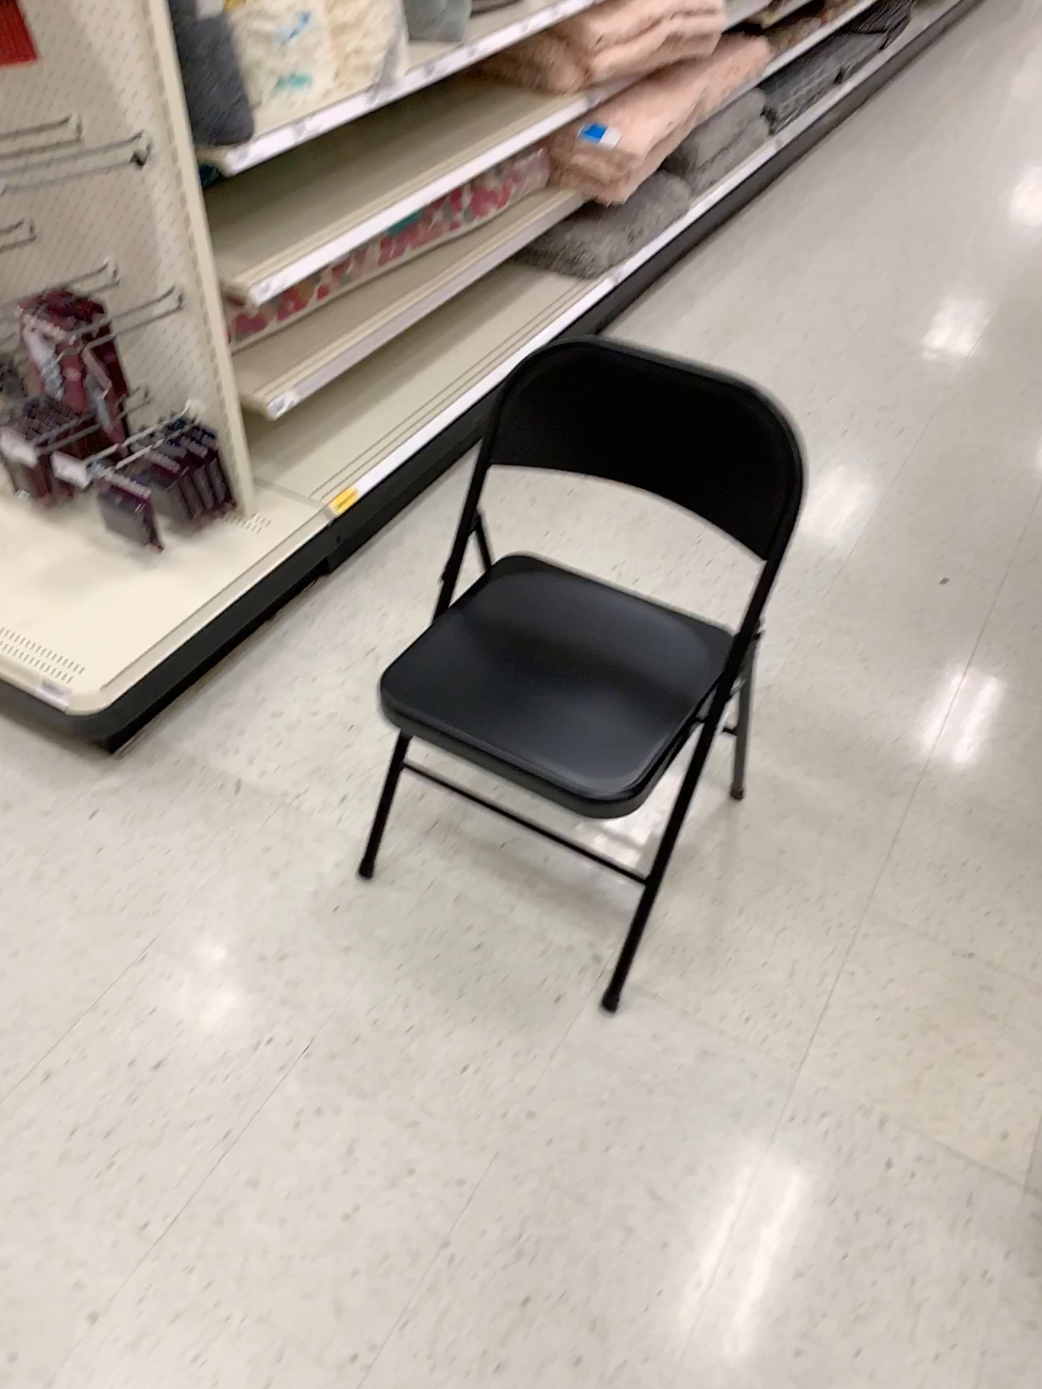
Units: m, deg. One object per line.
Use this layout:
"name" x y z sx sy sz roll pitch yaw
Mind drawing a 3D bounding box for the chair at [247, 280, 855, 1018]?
"chair" 0.053 -0.063 1.464 0.491 0.716 0.552 23 49 20
